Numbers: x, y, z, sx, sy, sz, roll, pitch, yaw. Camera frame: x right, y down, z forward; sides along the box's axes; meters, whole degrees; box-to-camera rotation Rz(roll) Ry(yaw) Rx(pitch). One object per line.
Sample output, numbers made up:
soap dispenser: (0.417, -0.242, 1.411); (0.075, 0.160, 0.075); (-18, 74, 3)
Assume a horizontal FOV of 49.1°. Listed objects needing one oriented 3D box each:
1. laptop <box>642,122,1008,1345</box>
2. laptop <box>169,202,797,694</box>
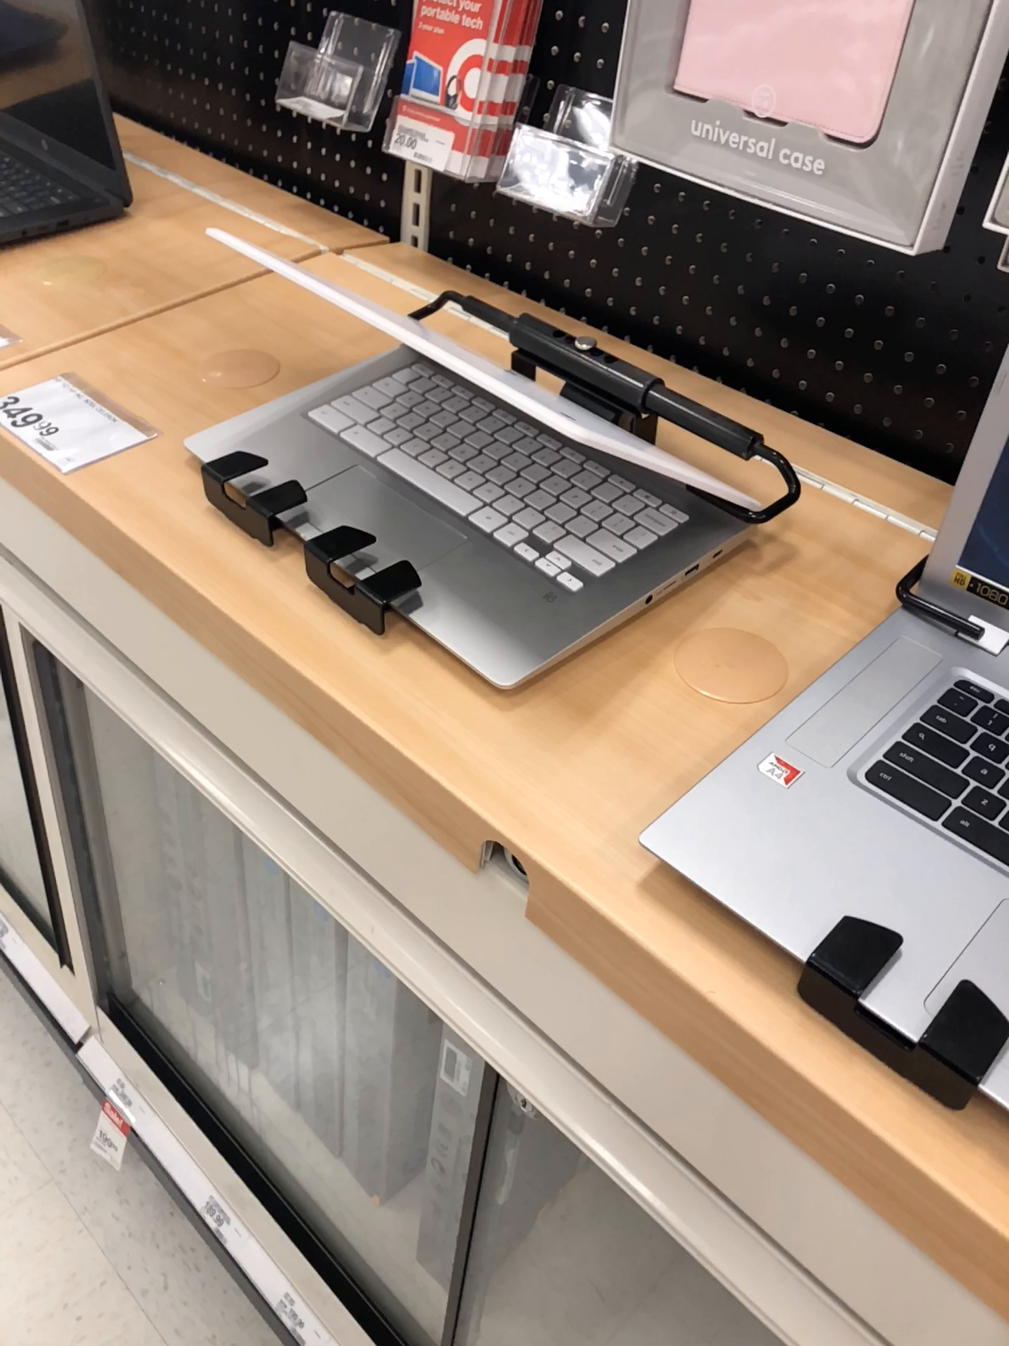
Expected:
laptop: (0.305, 0.009, 0.402); (0.389, 0.244, 0.273); (33, 48, 30)
laptop: (-0.029, -0.166, 0.697); (0.215, 0.100, 0.331); (-32, 52, -29)
